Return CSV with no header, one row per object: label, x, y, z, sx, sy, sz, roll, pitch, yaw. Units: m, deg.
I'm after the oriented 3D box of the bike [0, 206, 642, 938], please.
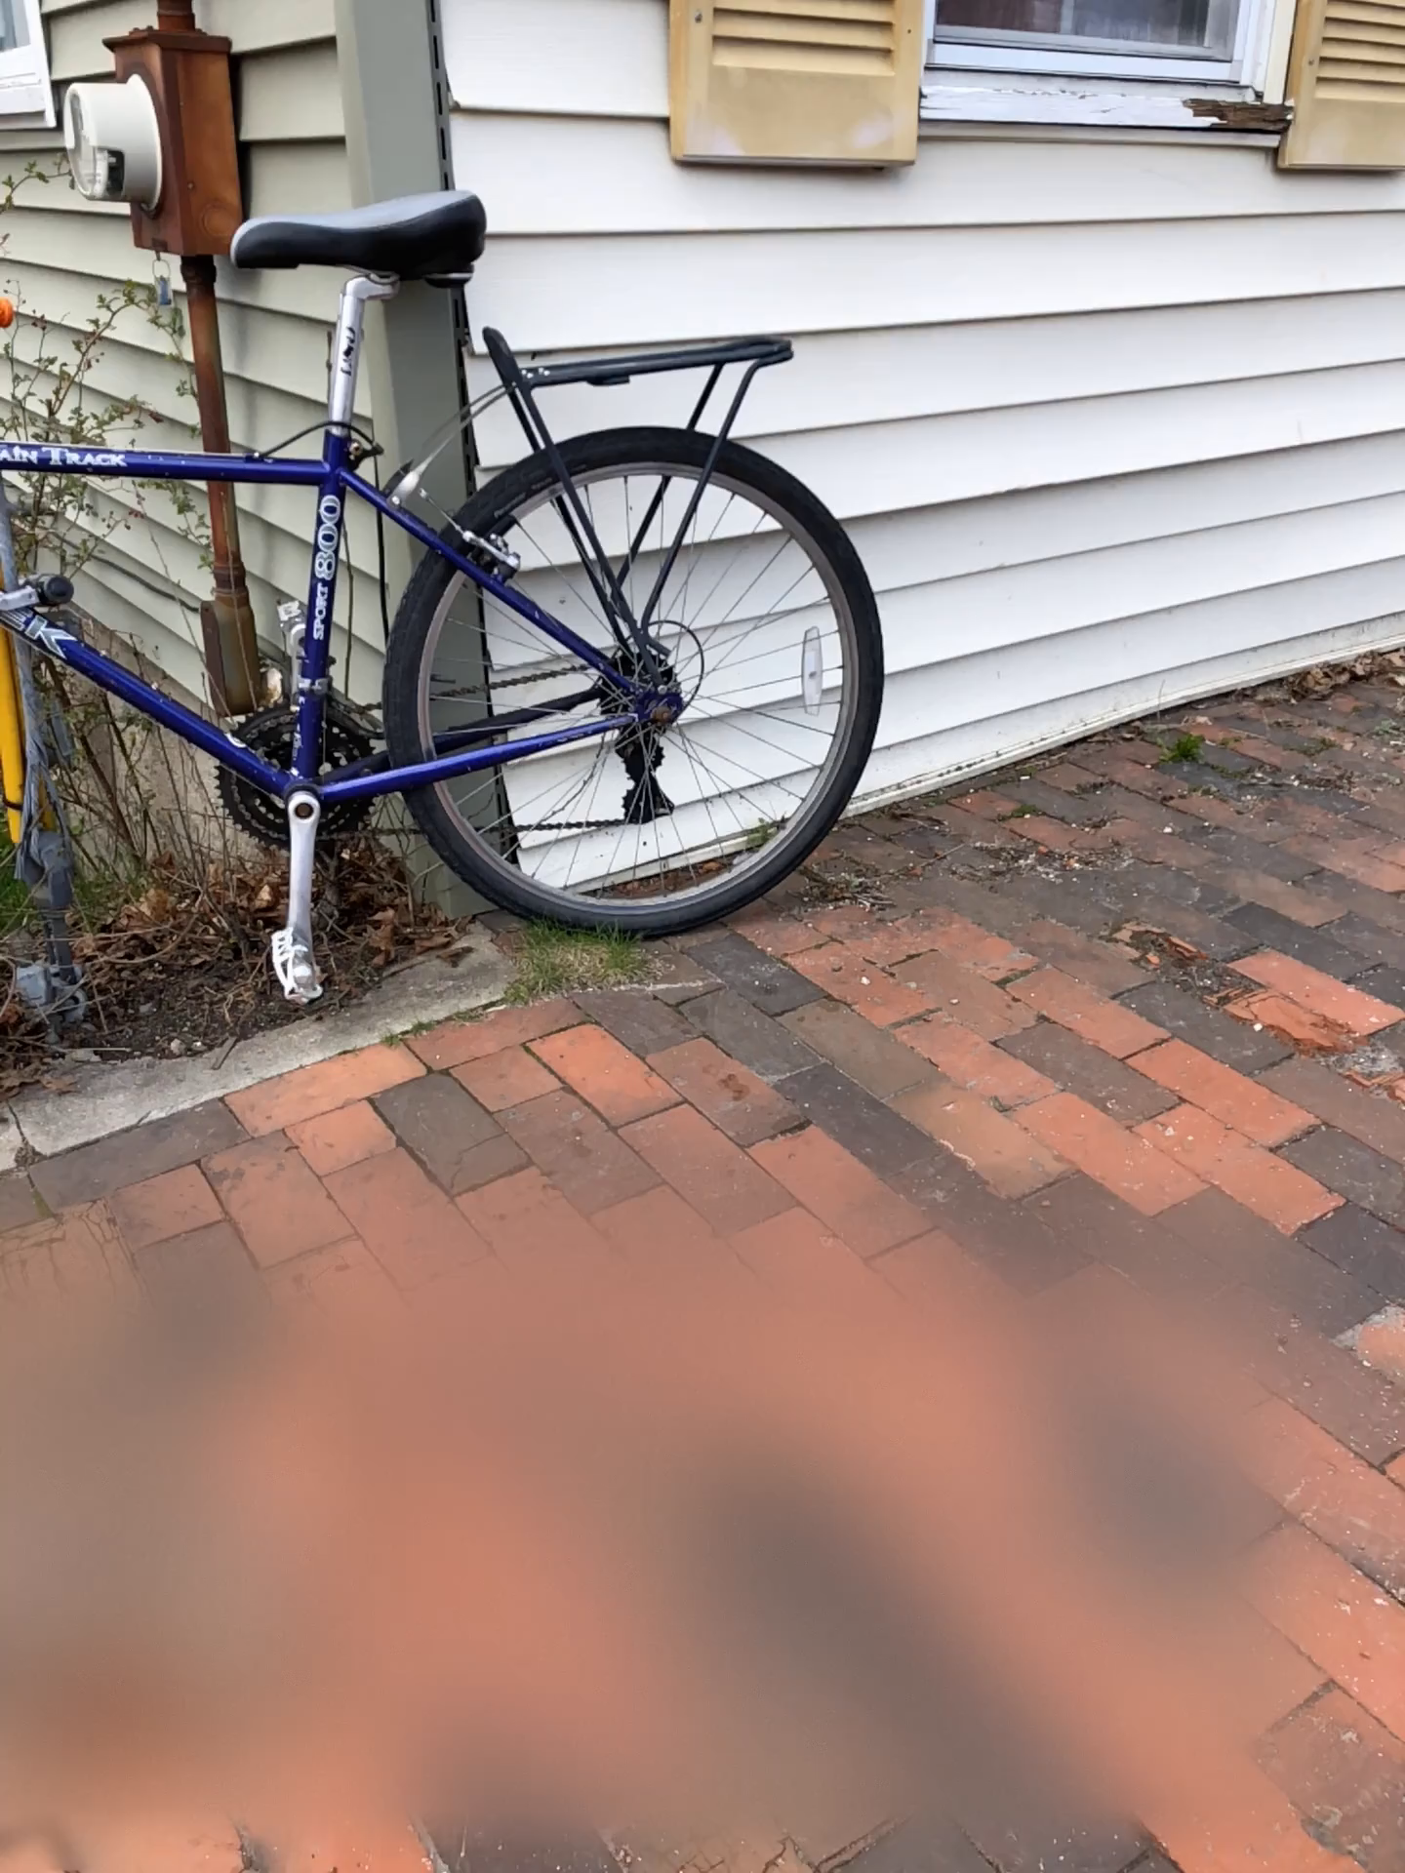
bike,-0.717,-0.438,1.752,1.146,0.690,0.515,-3,26,-4
